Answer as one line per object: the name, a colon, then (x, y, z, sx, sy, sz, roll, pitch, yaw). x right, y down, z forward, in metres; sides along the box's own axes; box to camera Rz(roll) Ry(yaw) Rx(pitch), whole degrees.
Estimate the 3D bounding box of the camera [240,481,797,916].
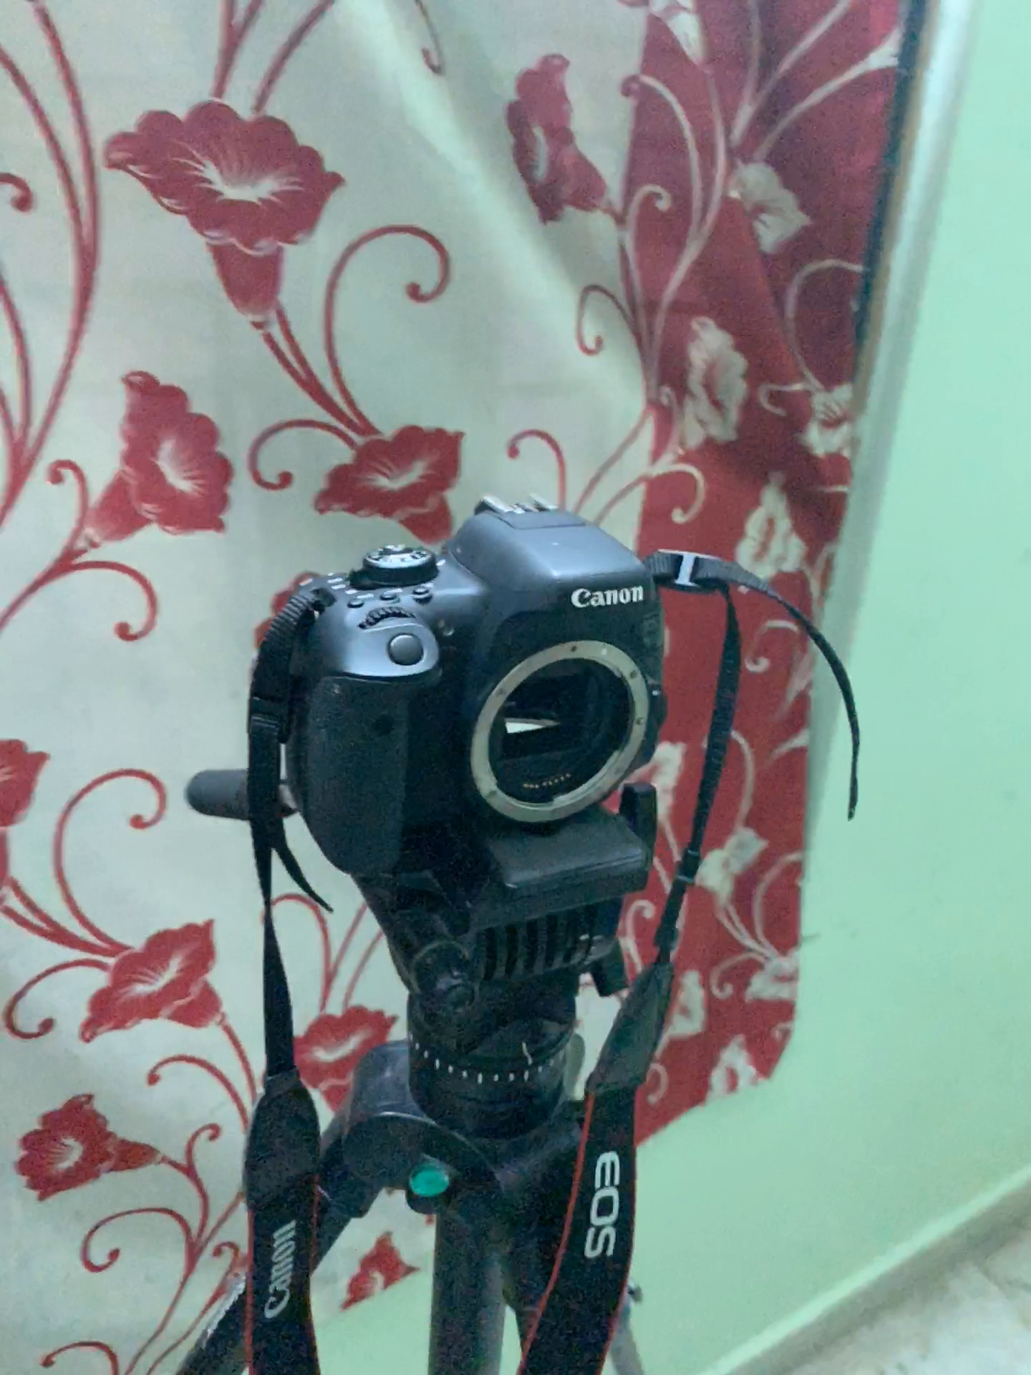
camera: (-0.002, -0.006, 0.334, 0.142, 0.088, 0.085, -10, 27, -27)
